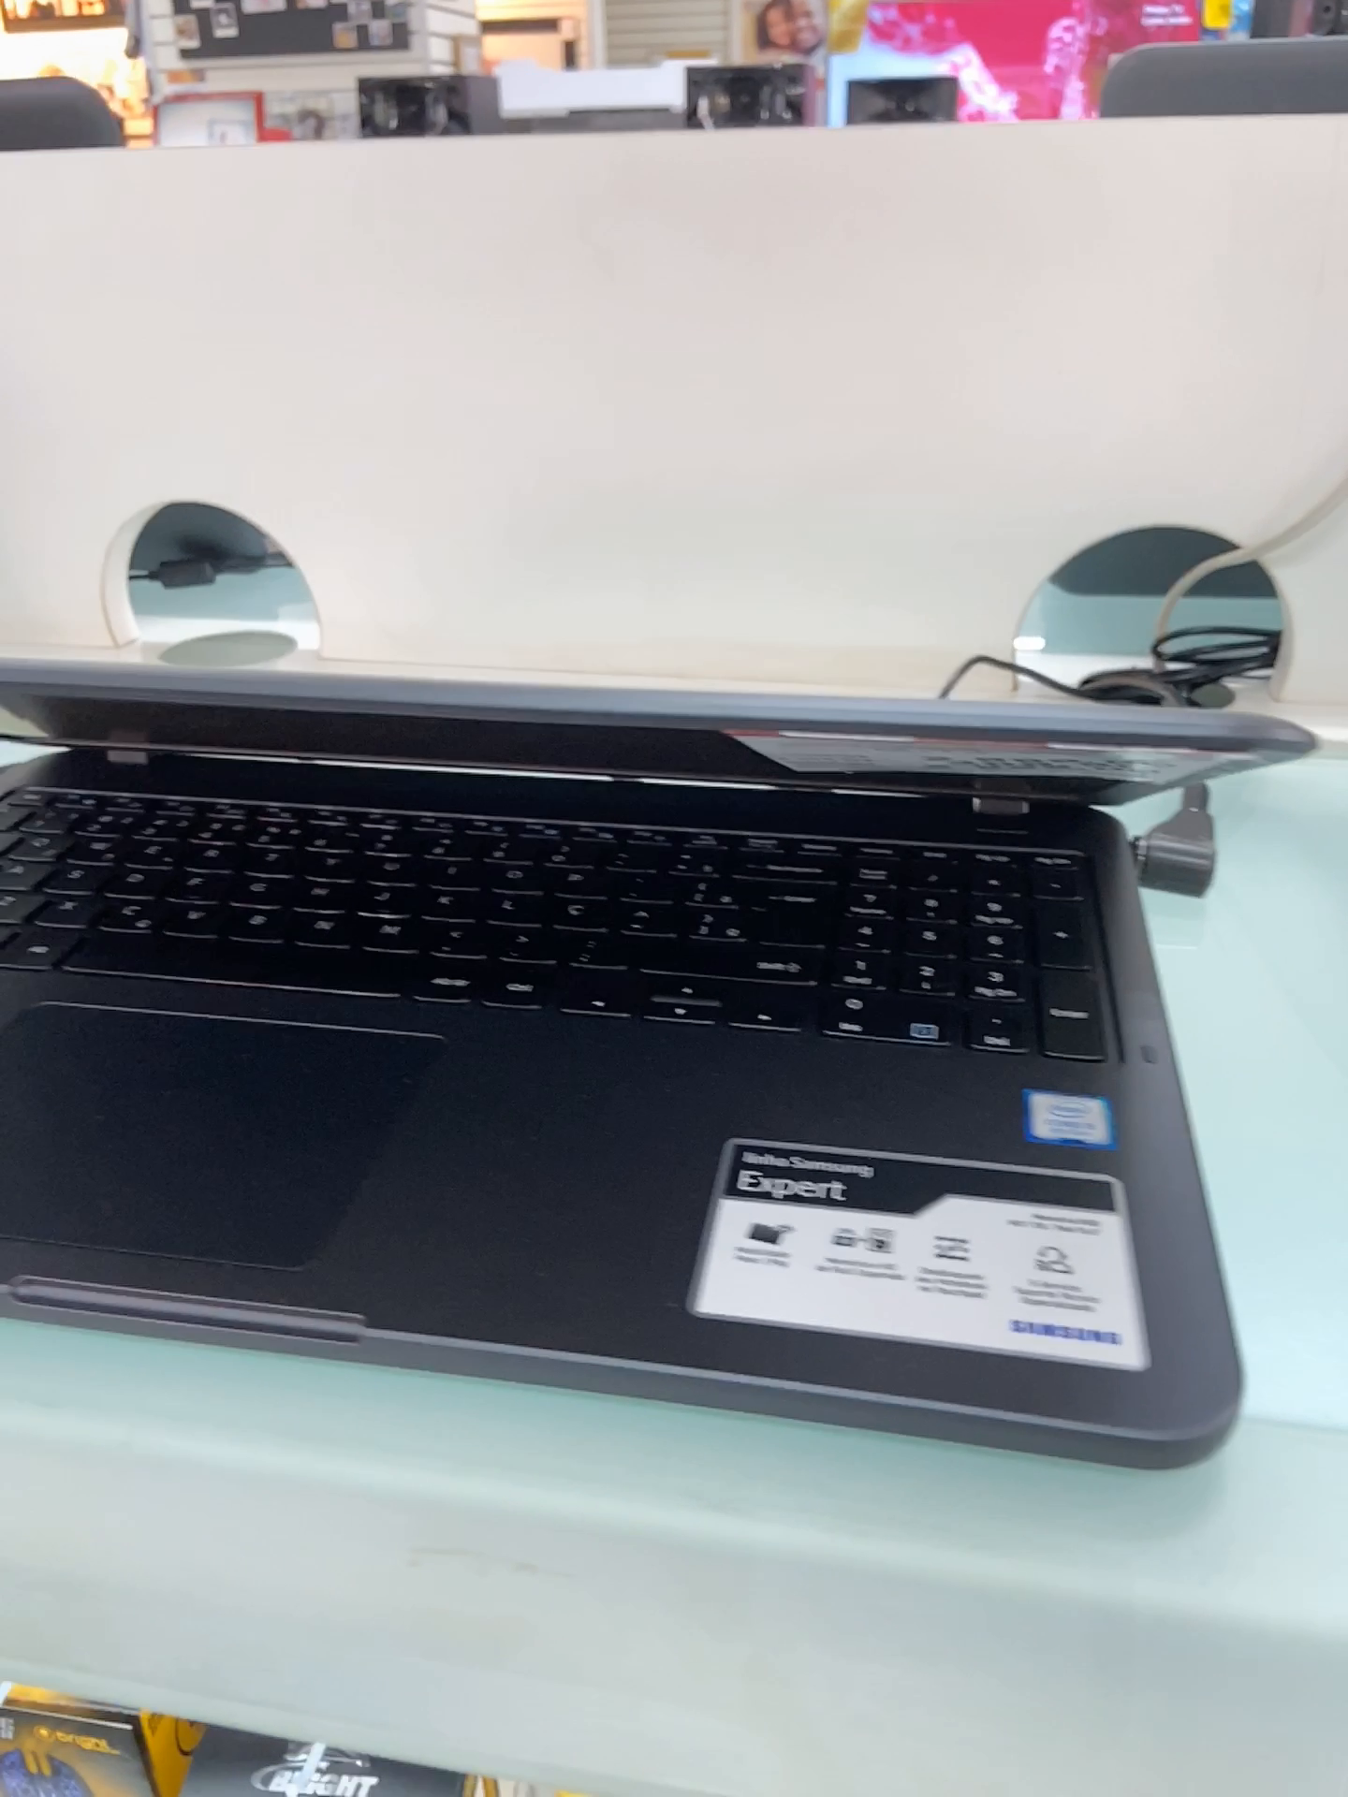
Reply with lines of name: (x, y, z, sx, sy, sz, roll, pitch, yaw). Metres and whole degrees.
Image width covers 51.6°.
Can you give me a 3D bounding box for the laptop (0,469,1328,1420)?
laptop: (-0.074, -0.026, 0.339, 0.376, 0.101, 0.234, 4, 29, 10)
